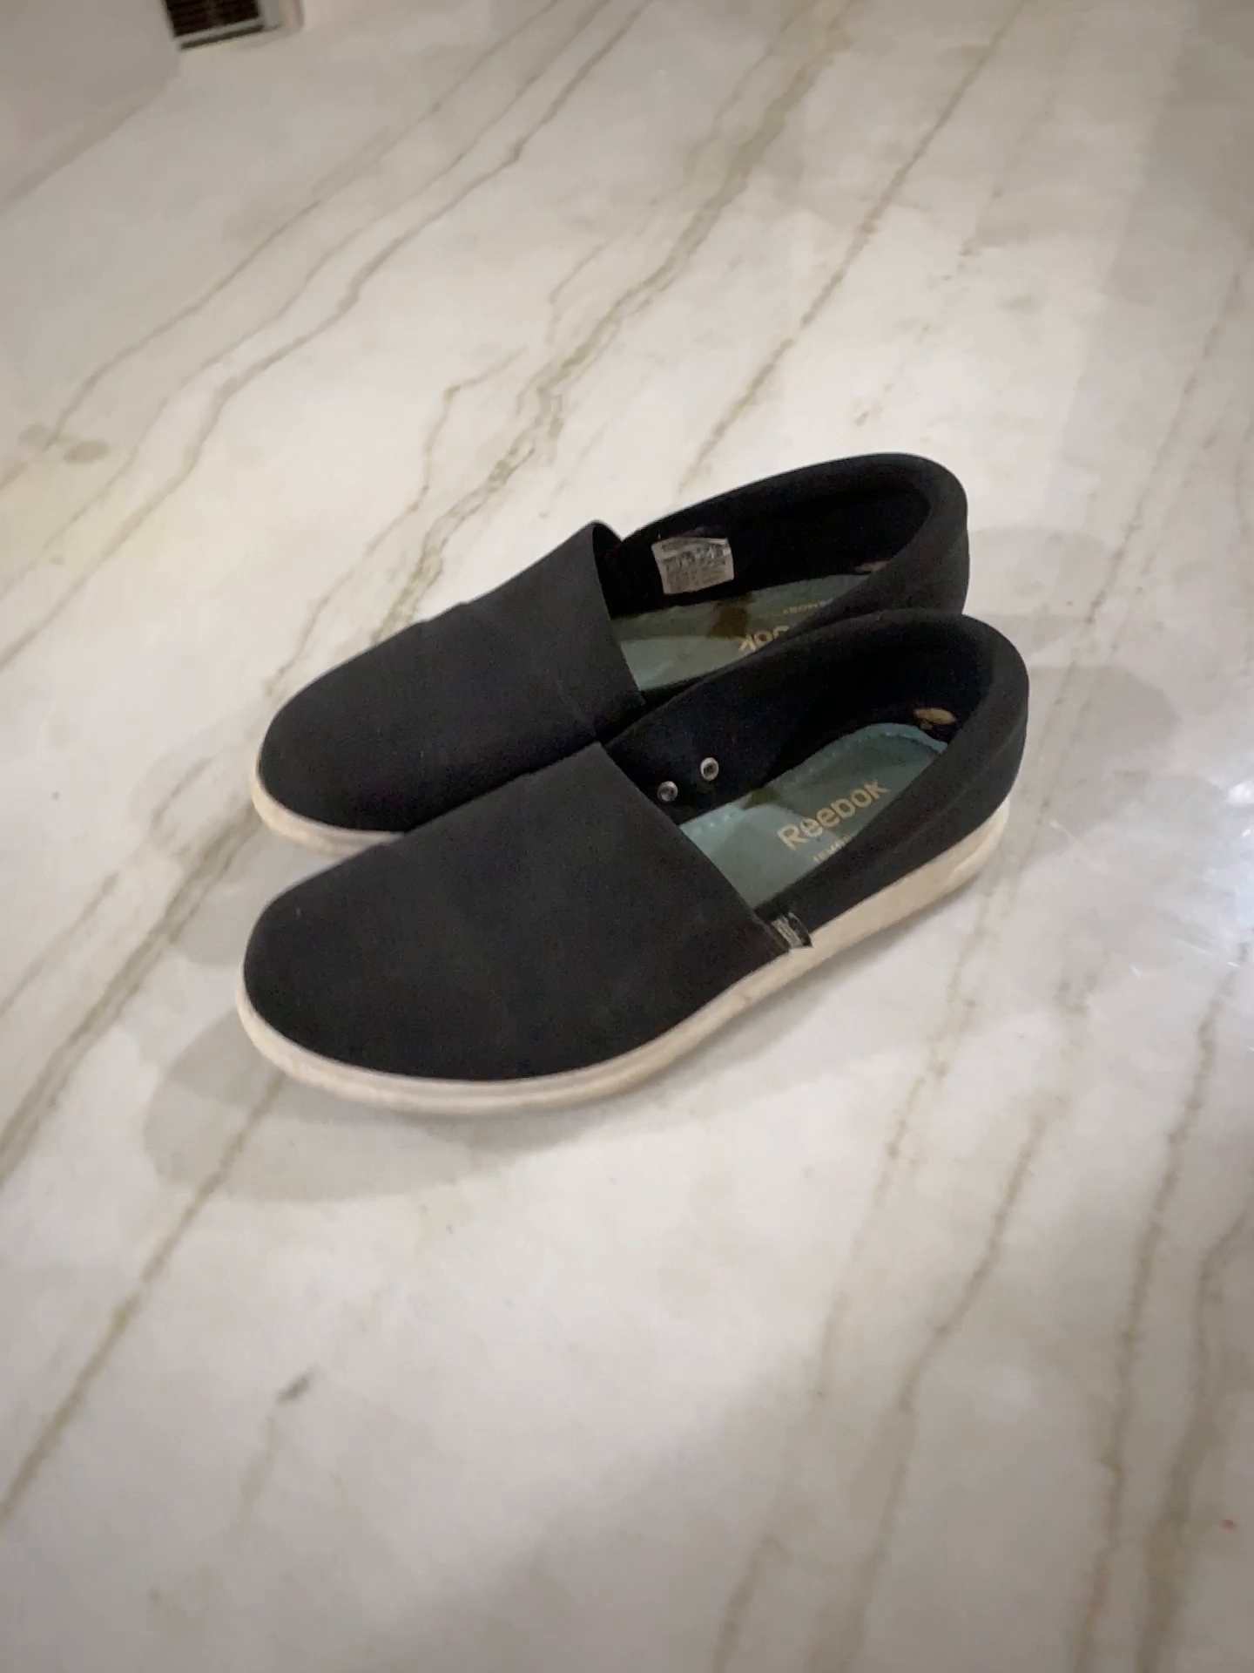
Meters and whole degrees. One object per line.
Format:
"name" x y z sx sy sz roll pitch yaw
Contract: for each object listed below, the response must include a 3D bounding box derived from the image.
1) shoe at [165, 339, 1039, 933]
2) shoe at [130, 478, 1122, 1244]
"shoe" -0.007 -0.065 0.395 0.229 0.078 0.092 -19 56 -11
"shoe" 0.004 0.000 0.349 0.229 0.078 0.092 -26 57 -15
